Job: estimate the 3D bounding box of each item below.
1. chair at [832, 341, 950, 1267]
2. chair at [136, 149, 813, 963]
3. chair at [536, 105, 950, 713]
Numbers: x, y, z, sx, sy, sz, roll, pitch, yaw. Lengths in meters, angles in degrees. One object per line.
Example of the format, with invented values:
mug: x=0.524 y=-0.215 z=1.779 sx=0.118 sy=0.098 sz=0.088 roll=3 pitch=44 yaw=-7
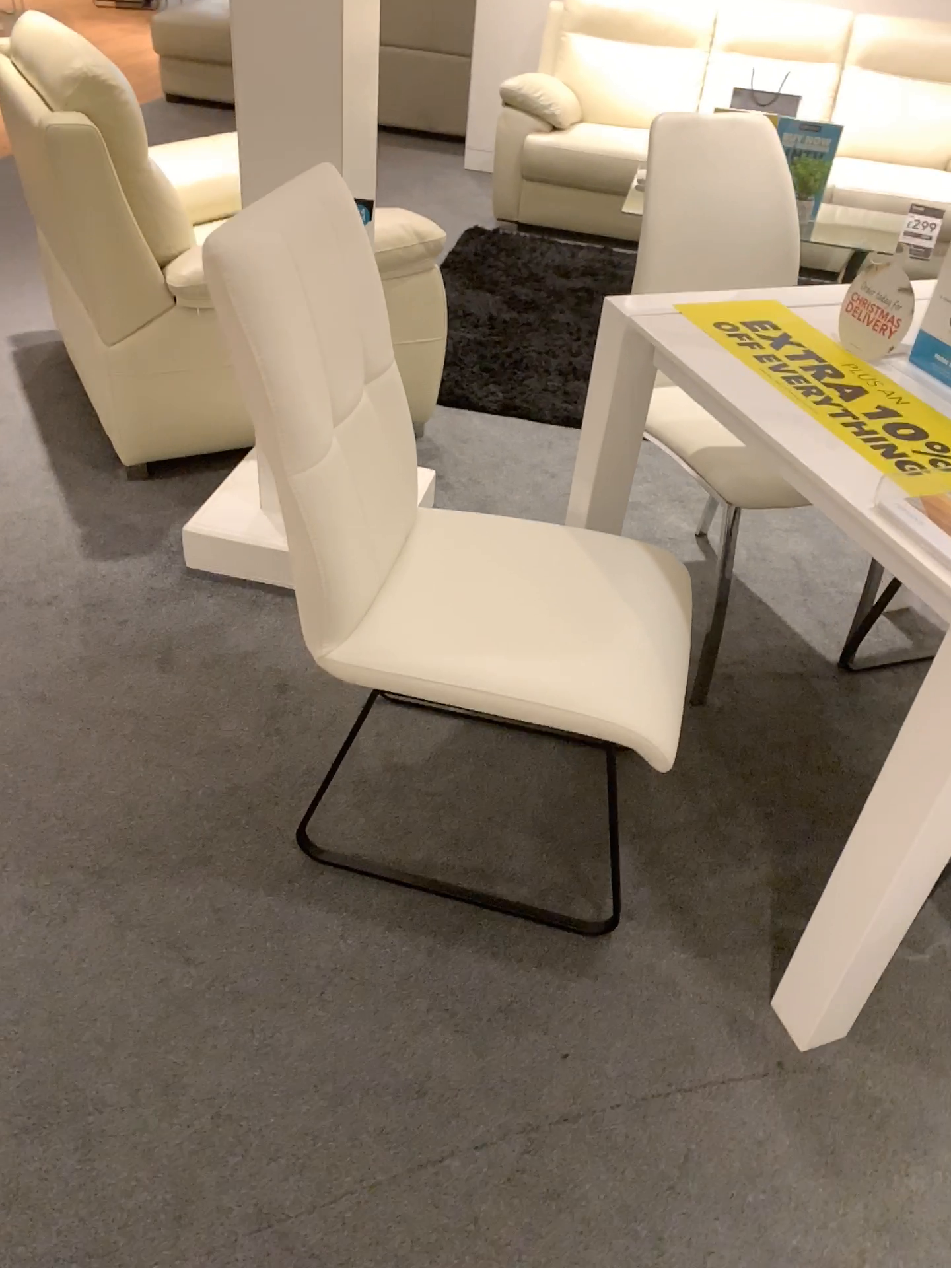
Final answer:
chair: x=0.919 y=0.245 z=1.024 sx=0.550 sy=0.882 sz=0.605 roll=-7 pitch=40 yaw=-16
chair: x=0.004 y=-0.099 z=1.358 sx=0.630 sy=0.882 sz=0.545 roll=12 pitch=39 yaw=7
chair: x=0.552 y=-0.448 z=1.872 sx=0.521 sy=0.901 sz=0.645 roll=-12 pitch=42 yaw=-22
